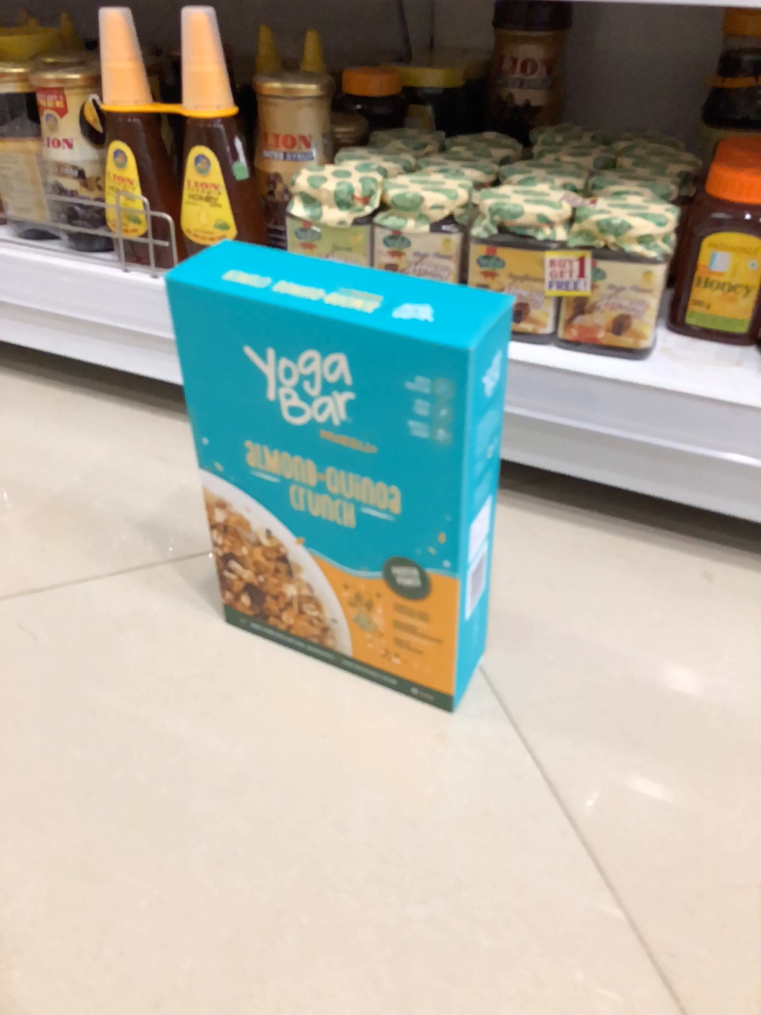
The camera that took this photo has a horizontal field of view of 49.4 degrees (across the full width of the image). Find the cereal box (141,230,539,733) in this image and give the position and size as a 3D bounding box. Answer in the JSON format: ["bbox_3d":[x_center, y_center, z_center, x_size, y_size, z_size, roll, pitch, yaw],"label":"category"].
[{"bbox_3d":[-0.020,-0.010,0.435,0.170,0.228,0.060,17,40,23],"label":"cereal box"}]
